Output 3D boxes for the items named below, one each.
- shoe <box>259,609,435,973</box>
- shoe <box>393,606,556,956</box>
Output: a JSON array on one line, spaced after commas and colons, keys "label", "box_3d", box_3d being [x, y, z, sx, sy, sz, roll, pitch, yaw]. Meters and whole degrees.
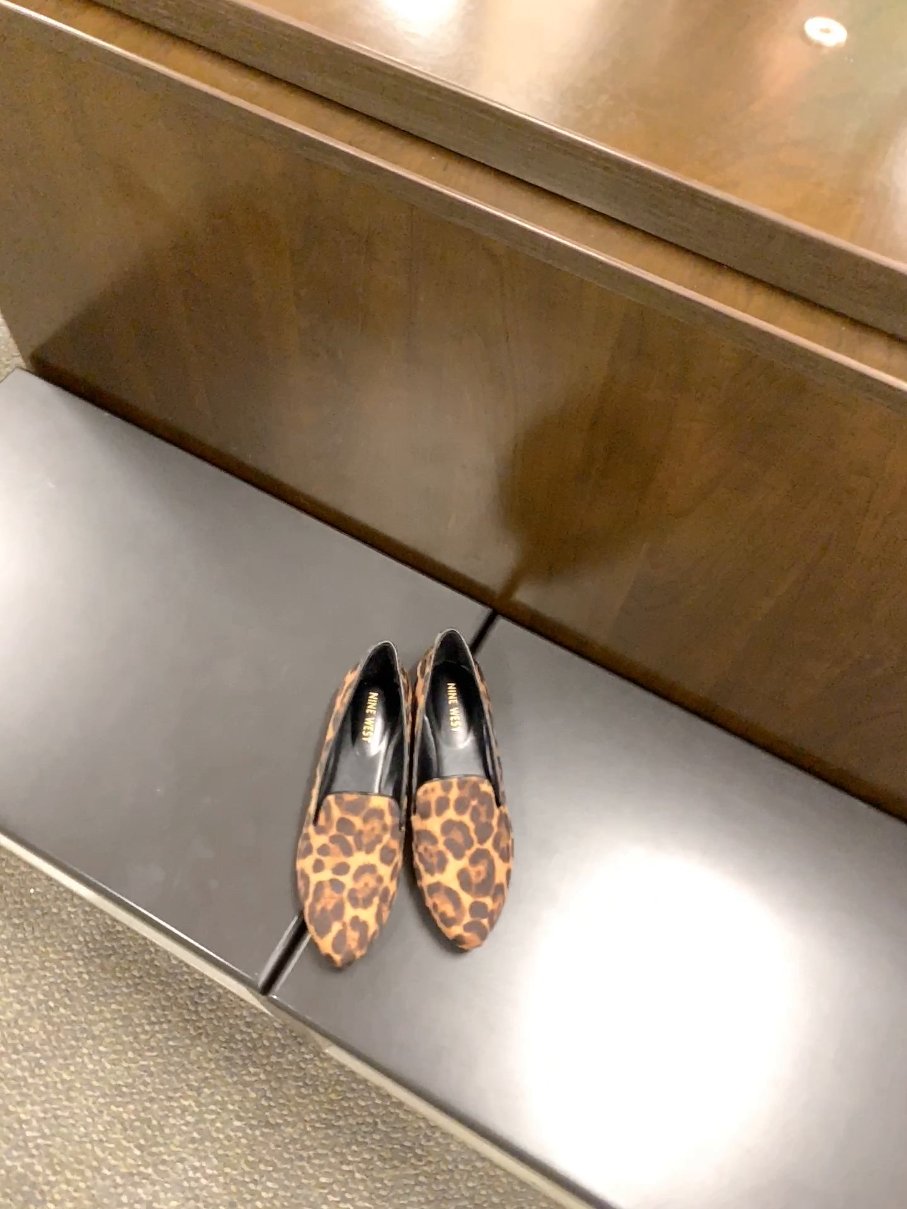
[{"label": "shoe", "box_3d": [-0.074, 0.138, 0.701, 0.090, 0.090, 0.248, 7, 61, -1]}, {"label": "shoe", "box_3d": [0.008, 0.133, 0.721, 0.090, 0.090, 0.248, -3, 61, -7]}]
